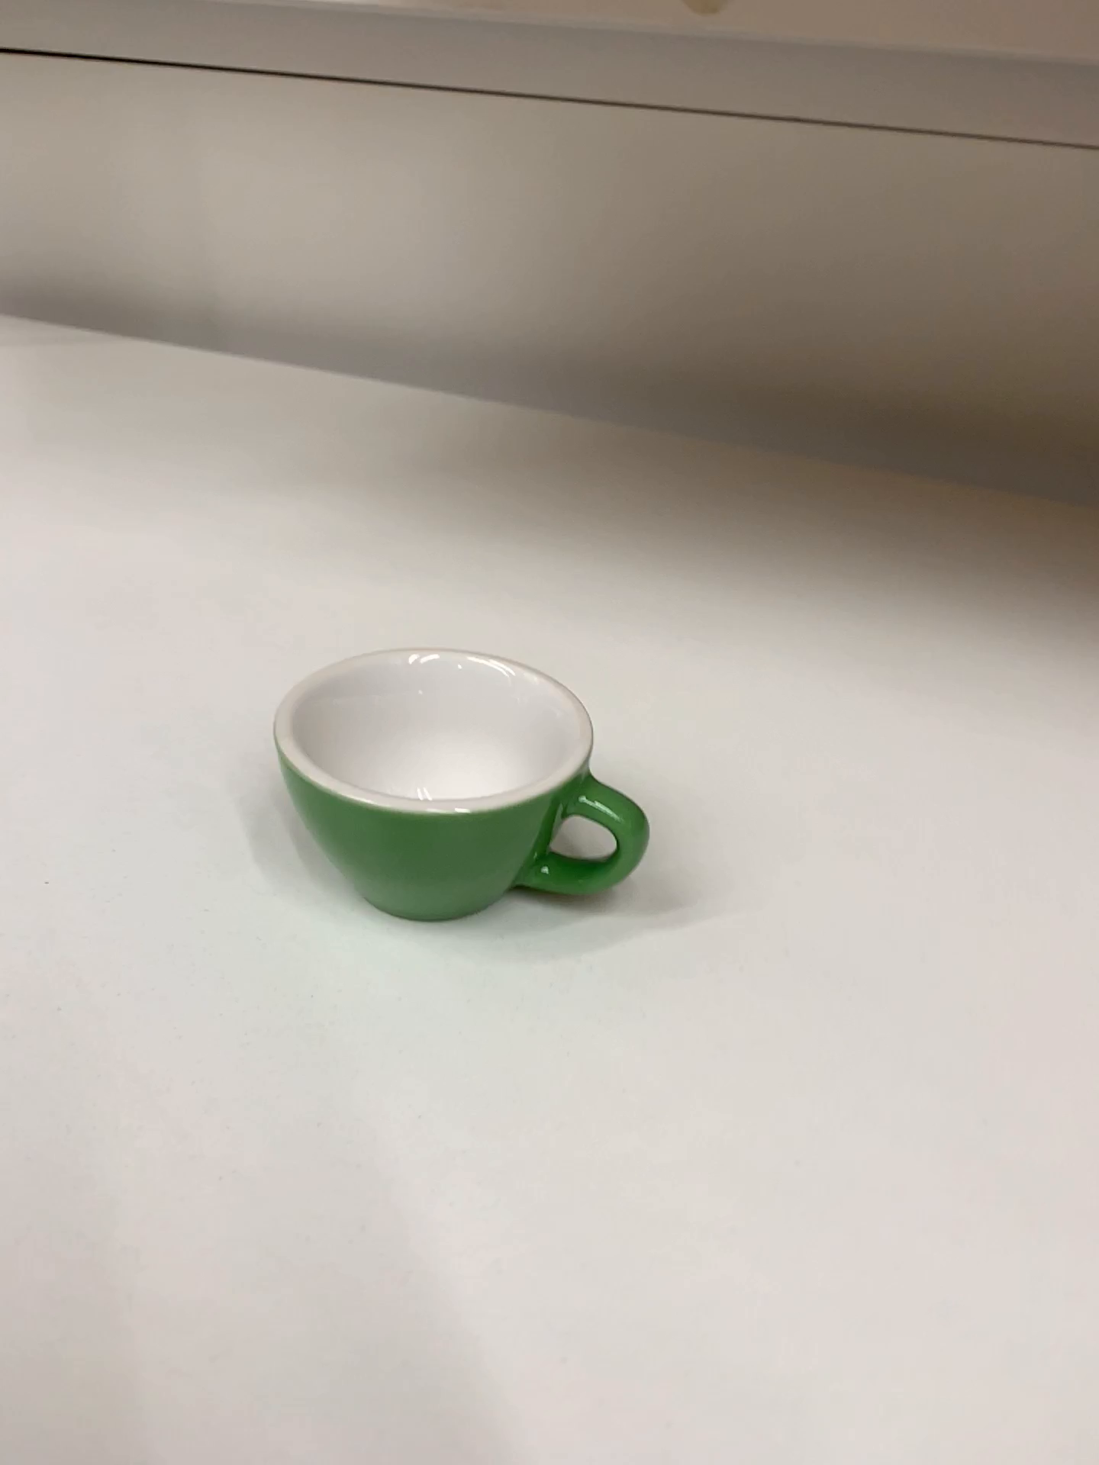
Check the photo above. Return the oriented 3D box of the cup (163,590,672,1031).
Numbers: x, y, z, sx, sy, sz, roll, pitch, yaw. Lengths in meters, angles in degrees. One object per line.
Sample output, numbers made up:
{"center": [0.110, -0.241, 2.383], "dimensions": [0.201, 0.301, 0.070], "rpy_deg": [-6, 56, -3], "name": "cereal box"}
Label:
{"center": [-0.021, 0.010, 0.212], "dimensions": [0.070, 0.040, 0.060], "rpy_deg": [13, 33, 15], "name": "cup"}
